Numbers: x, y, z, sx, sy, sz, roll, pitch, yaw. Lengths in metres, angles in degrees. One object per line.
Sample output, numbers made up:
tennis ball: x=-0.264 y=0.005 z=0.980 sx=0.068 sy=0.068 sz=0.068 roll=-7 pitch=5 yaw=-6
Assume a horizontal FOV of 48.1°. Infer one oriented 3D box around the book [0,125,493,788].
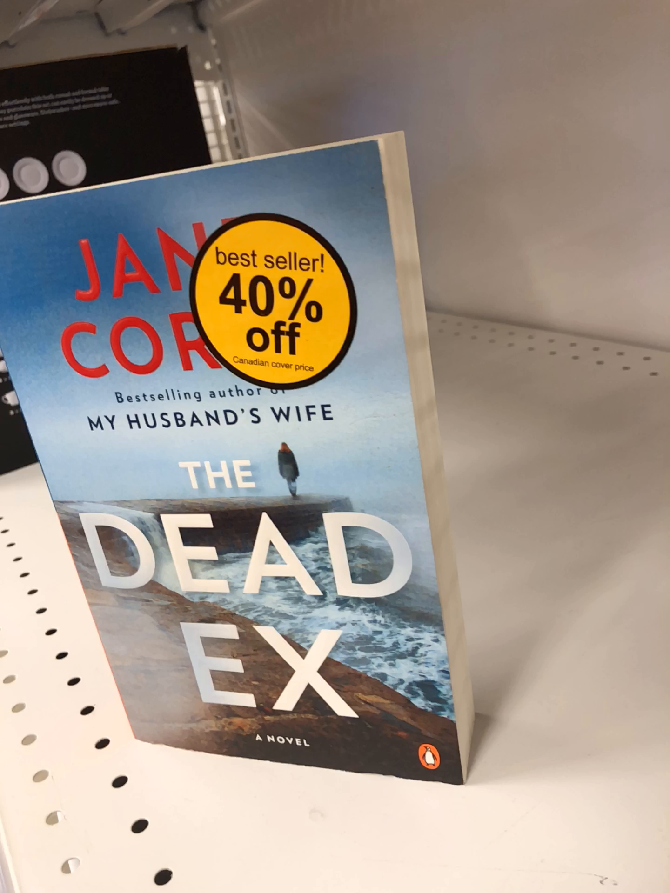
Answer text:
book: x=-0.032 y=0.015 z=0.263 sx=0.146 sy=0.211 sz=0.040 roll=-2 pitch=23 yaw=22
